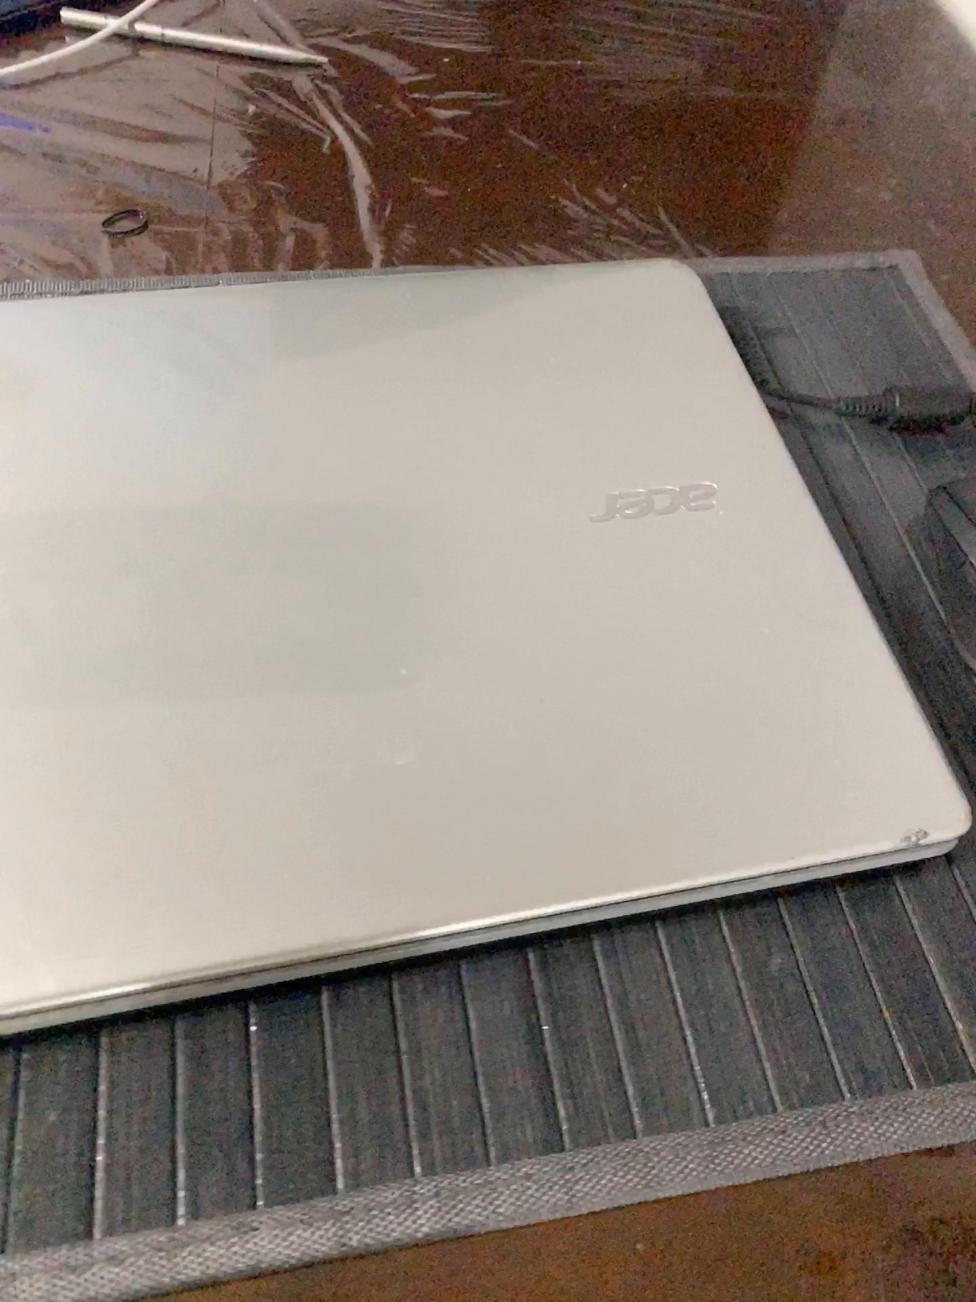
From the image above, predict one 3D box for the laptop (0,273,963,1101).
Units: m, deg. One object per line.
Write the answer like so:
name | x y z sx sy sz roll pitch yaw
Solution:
laptop | -0.065 -0.028 0.283 0.335 0.002 0.224 -7 58 -12
